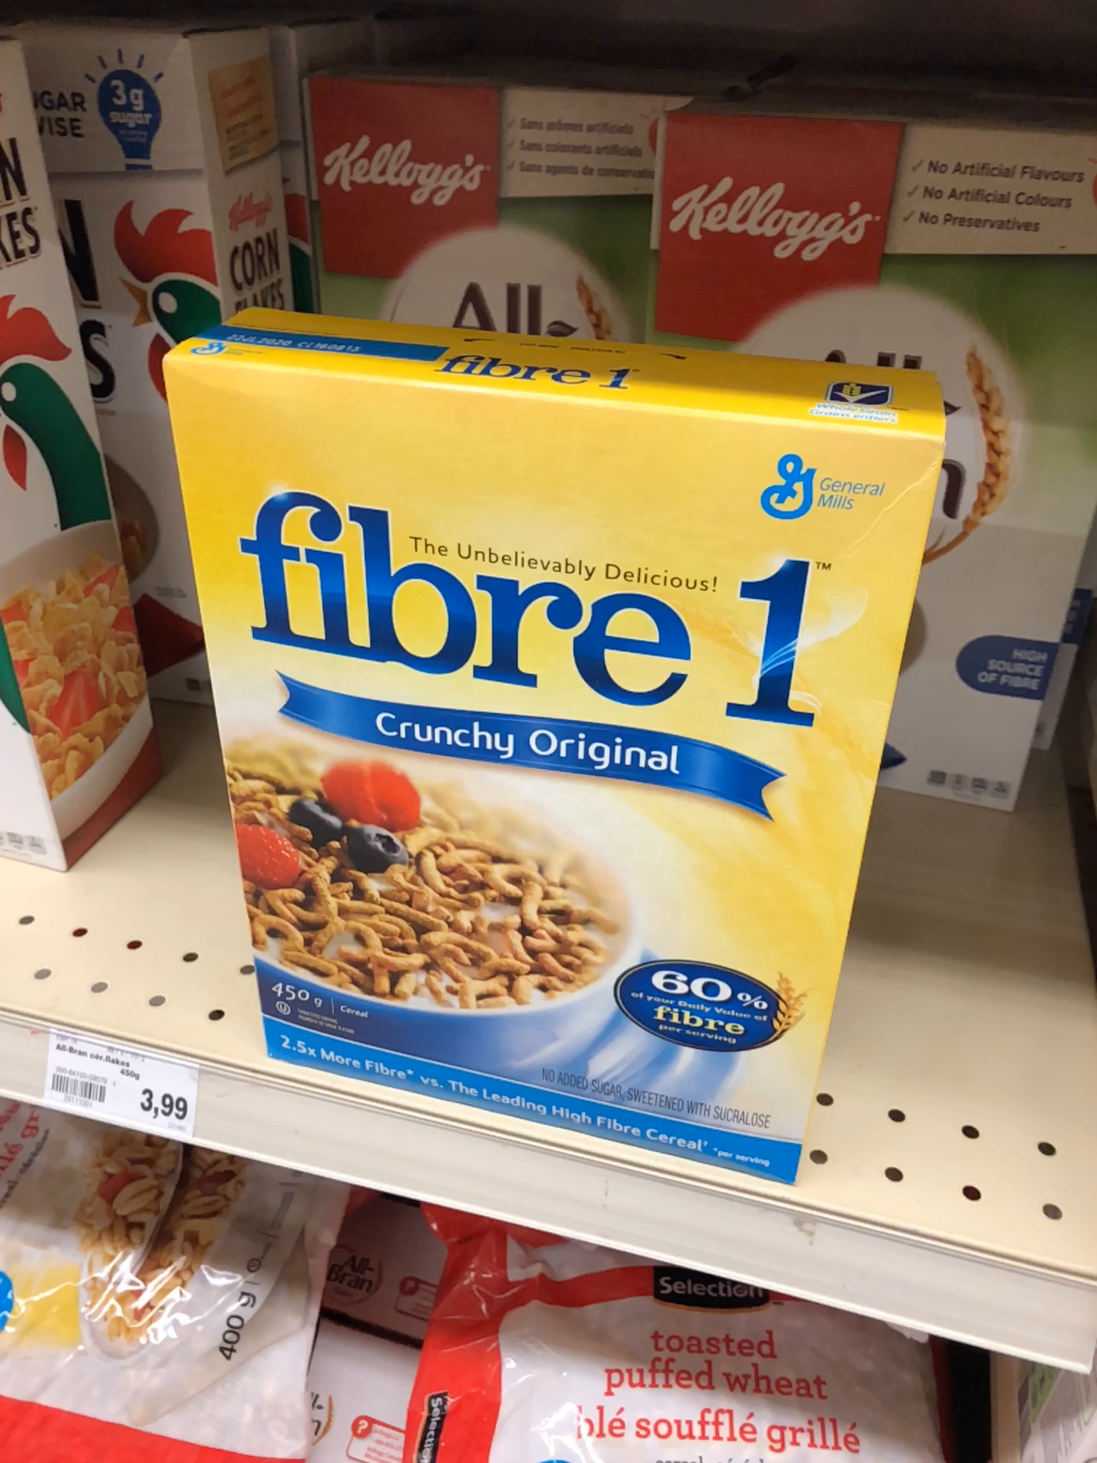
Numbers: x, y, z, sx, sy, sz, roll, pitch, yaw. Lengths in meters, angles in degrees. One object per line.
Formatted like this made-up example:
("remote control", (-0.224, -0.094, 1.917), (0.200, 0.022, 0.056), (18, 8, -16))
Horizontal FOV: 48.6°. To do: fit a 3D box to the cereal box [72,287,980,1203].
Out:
("cereal box", (-0.007, 0.012, 0.362), (0.210, 0.248, 0.060), (9, 34, 13))
